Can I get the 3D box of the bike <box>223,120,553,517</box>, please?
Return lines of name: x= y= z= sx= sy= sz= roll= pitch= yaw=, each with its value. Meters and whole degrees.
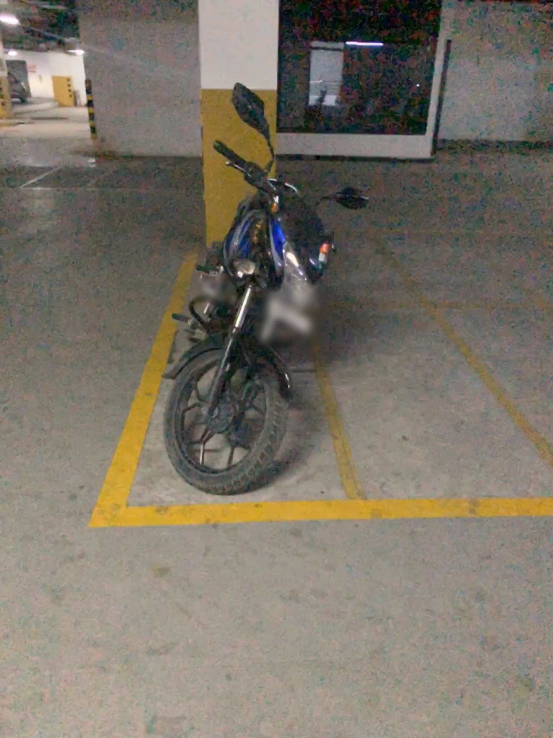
bike: x=0.217 y=-0.499 z=2.742 sx=0.850 sy=1.205 sz=2.223 roll=-2 pitch=26 yaw=-6
